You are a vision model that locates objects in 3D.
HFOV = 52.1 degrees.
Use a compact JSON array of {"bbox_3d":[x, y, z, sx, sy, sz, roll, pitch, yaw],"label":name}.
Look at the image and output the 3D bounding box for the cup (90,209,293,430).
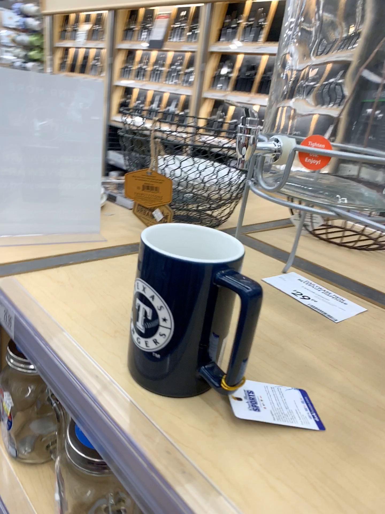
[{"bbox_3d":[-0.008,0.038,0.331,0.097,0.121,0.123,-11,28,-43],"label":"cup"}]
